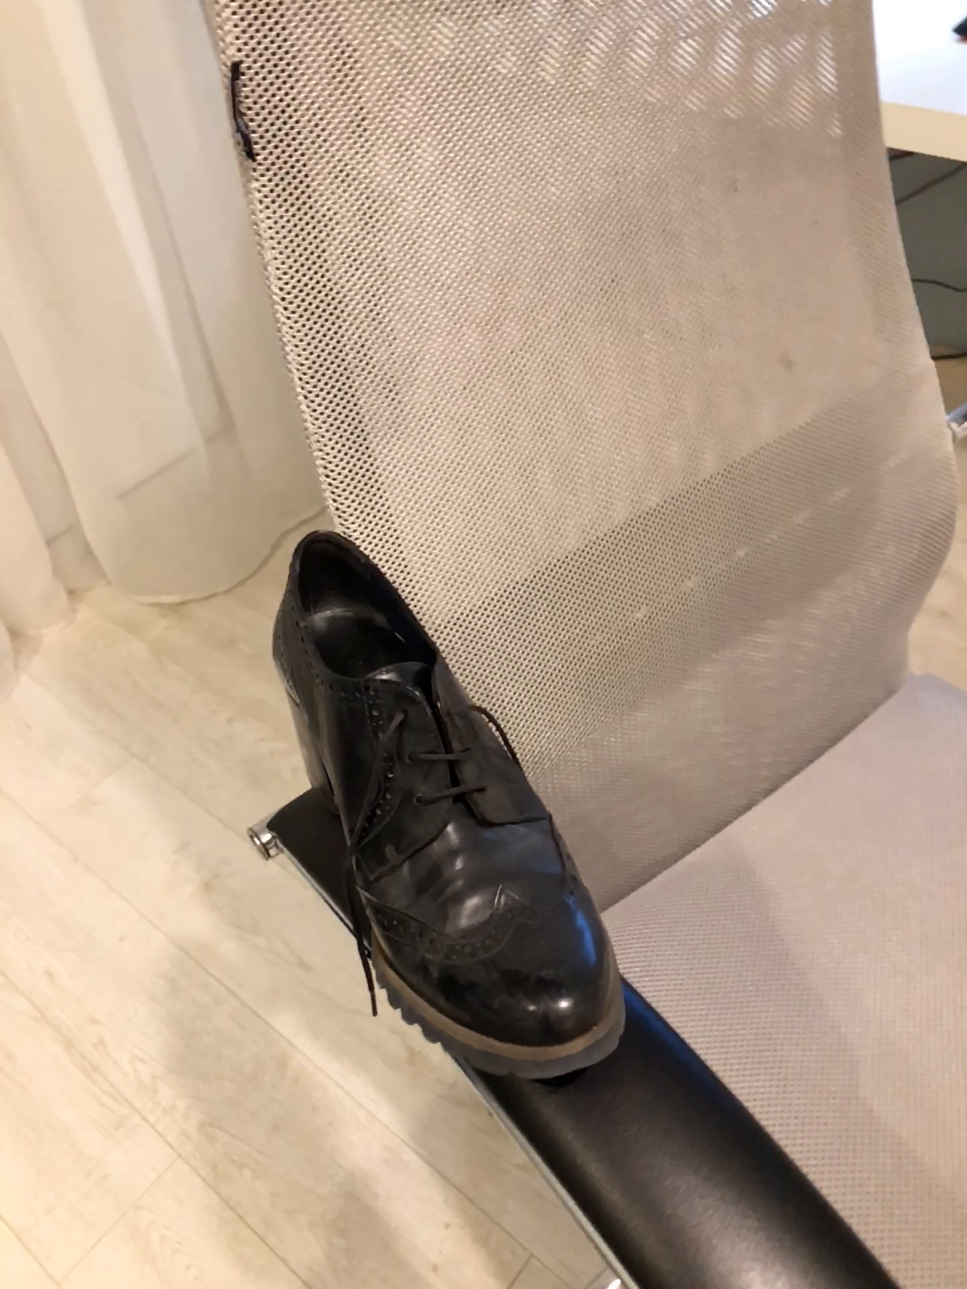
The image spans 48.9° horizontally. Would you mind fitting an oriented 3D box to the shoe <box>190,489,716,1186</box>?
[{"bbox_3d":[-0.024,0.054,0.430,0.100,0.119,0.251,-22,38,-16],"label":"shoe"}]
